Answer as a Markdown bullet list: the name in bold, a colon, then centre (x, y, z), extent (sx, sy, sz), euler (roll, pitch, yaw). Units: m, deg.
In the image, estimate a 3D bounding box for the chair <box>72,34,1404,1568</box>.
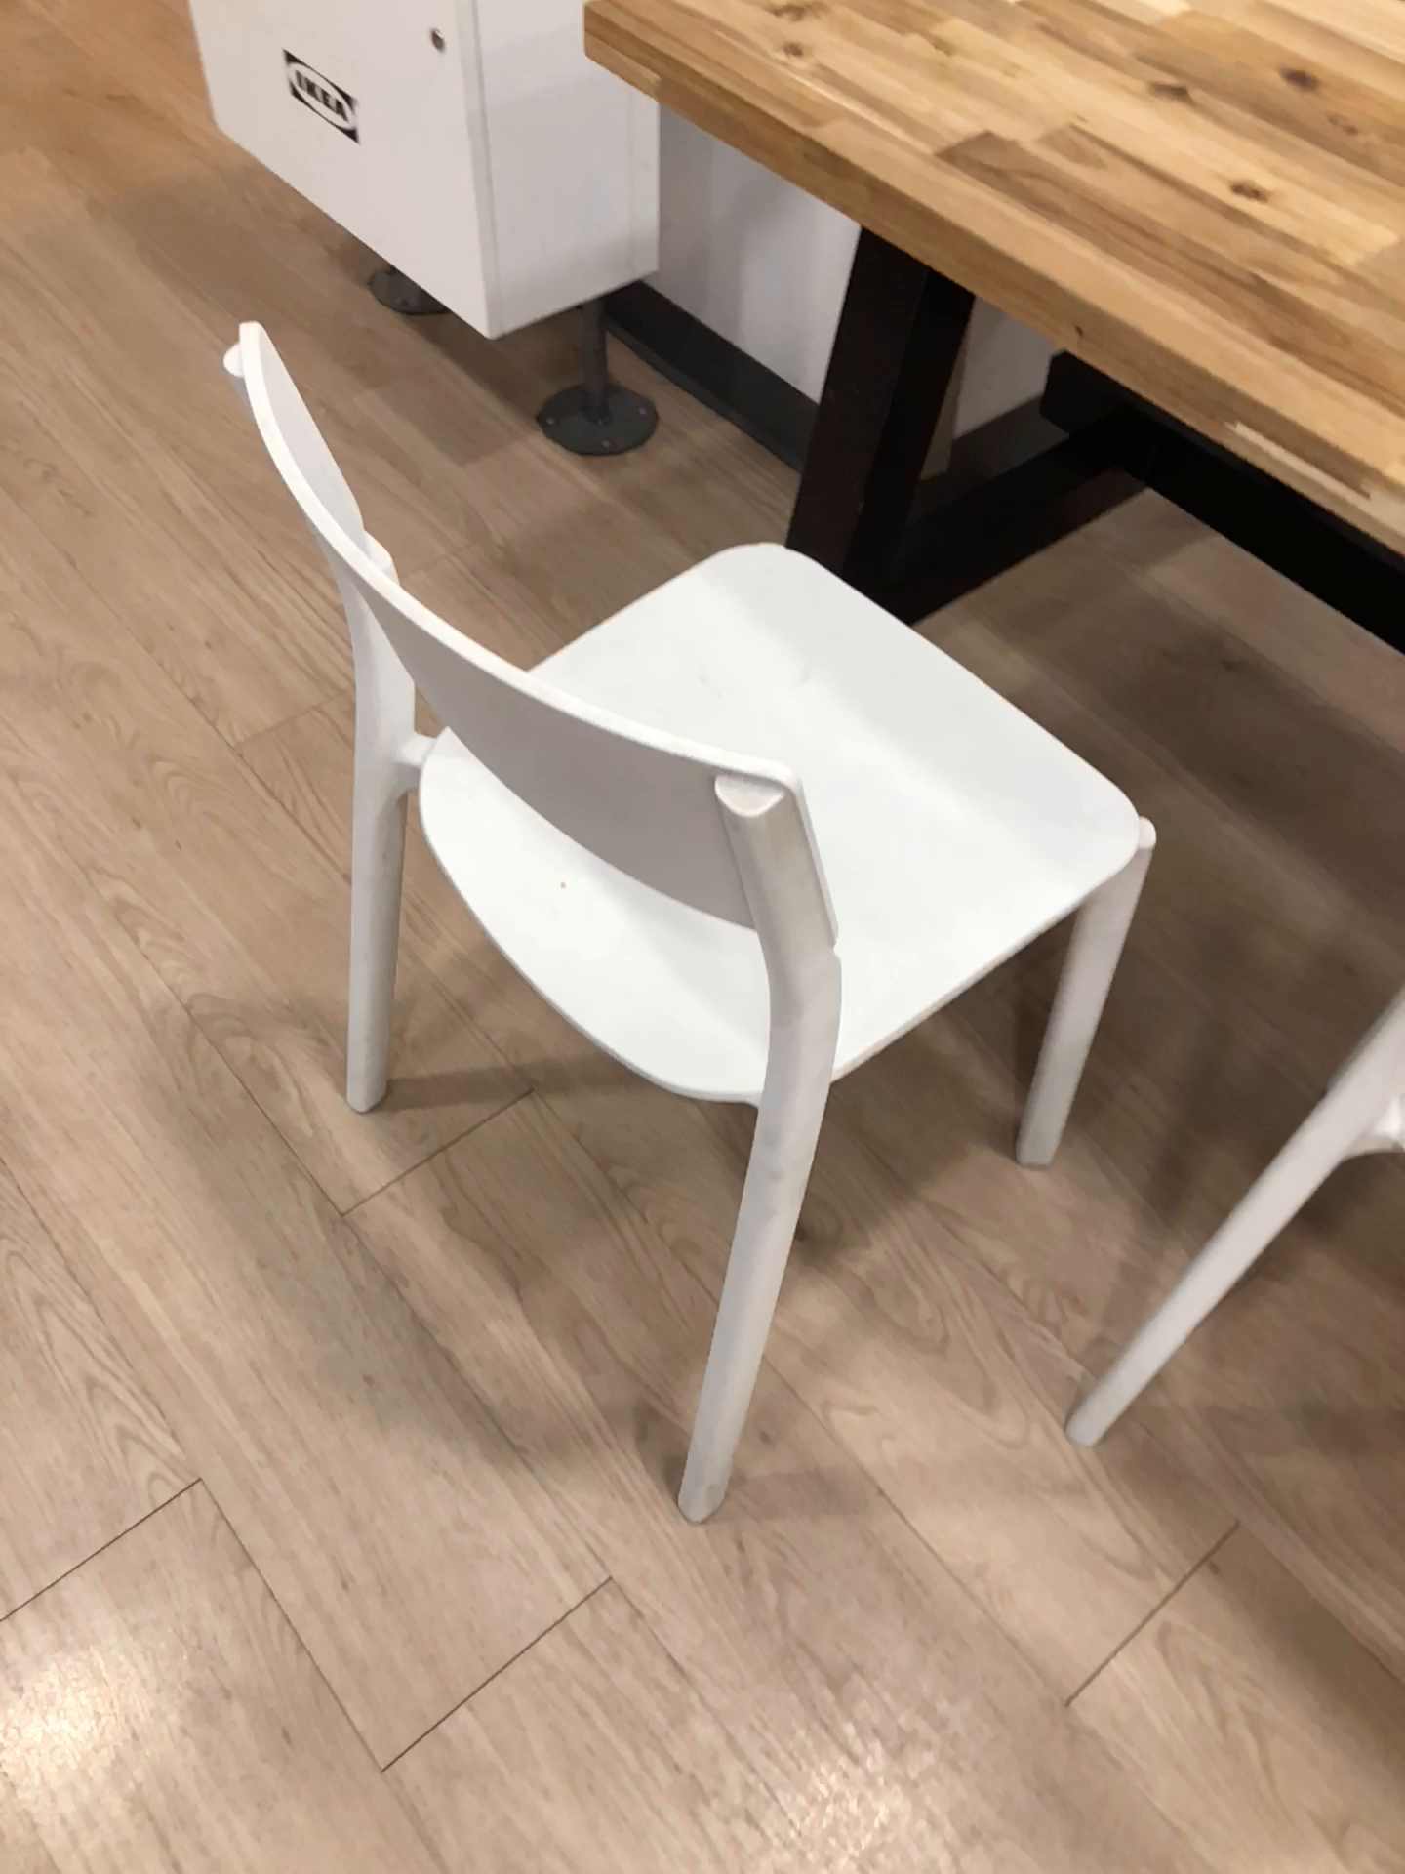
- **chair**: centre (0.059, -0.069, 1.054), extent (0.561, 0.716, 0.532), euler (-34, 61, -24)
